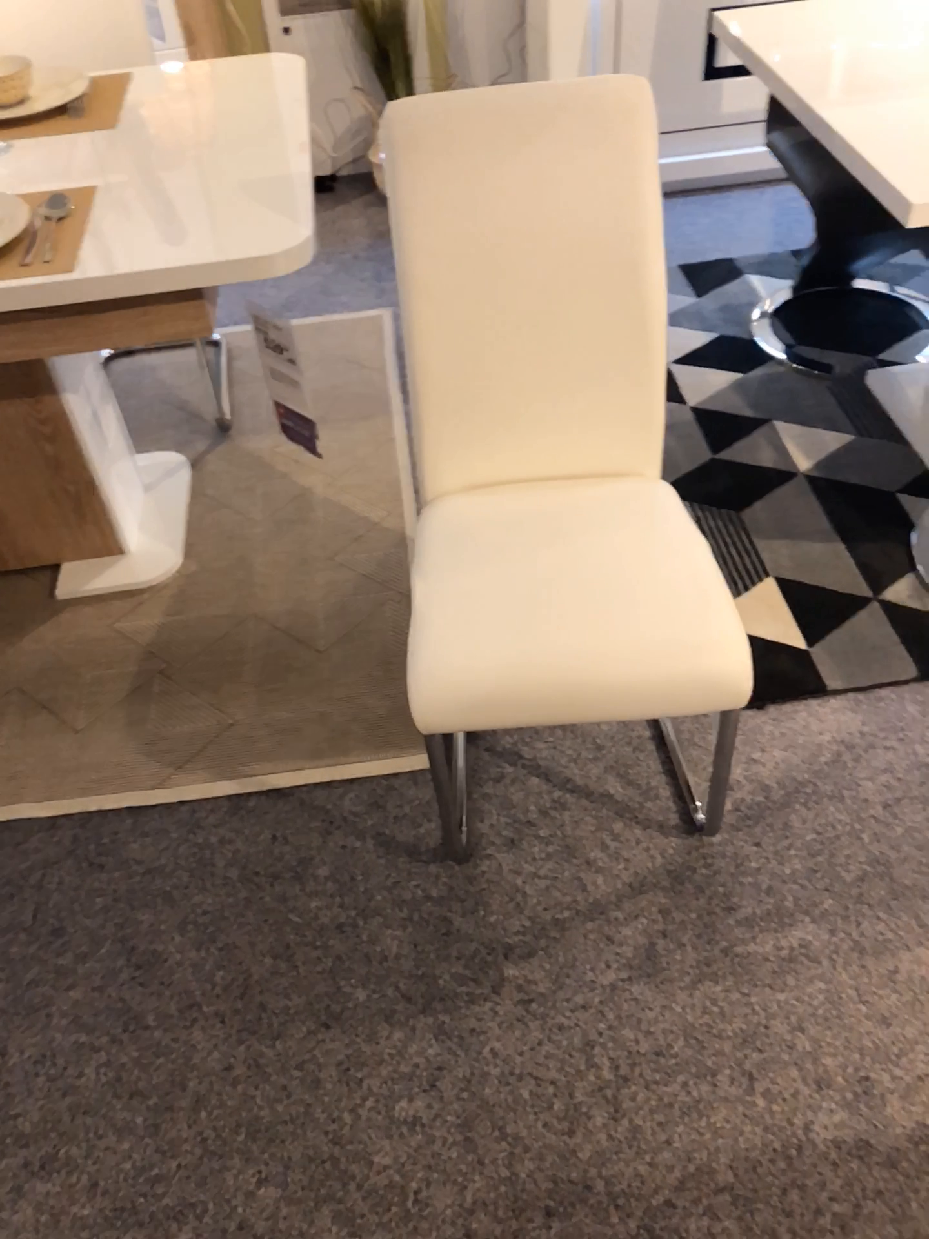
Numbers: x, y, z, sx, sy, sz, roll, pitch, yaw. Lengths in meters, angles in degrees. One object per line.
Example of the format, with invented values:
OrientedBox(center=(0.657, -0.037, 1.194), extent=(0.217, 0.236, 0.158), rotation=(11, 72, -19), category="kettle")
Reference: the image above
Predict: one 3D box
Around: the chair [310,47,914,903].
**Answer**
OrientedBox(center=(0.129, -0.142, 1.355), extent=(0.500, 0.925, 0.553), rotation=(-8, 45, -2), category="chair")
